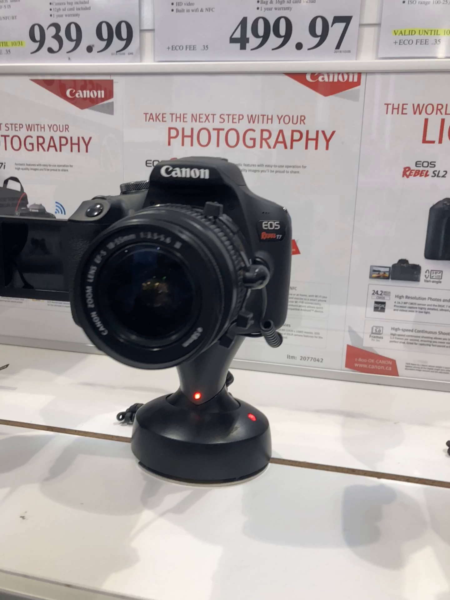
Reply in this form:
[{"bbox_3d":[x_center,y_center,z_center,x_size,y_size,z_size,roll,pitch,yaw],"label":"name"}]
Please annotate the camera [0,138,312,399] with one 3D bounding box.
[{"bbox_3d":[-0.026,-0.029,0.273,0.130,0.100,0.140,5,13,13],"label":"camera"}]
